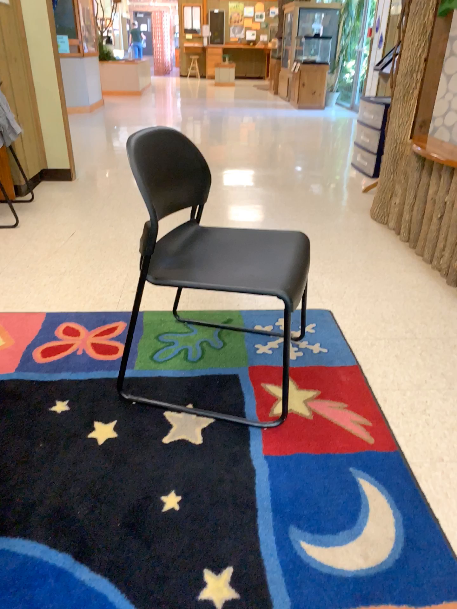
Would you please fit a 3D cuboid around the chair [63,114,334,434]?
[{"bbox_3d":[-0.039,-0.144,1.496,0.610,0.775,0.593,8,29,12],"label":"chair"}]
